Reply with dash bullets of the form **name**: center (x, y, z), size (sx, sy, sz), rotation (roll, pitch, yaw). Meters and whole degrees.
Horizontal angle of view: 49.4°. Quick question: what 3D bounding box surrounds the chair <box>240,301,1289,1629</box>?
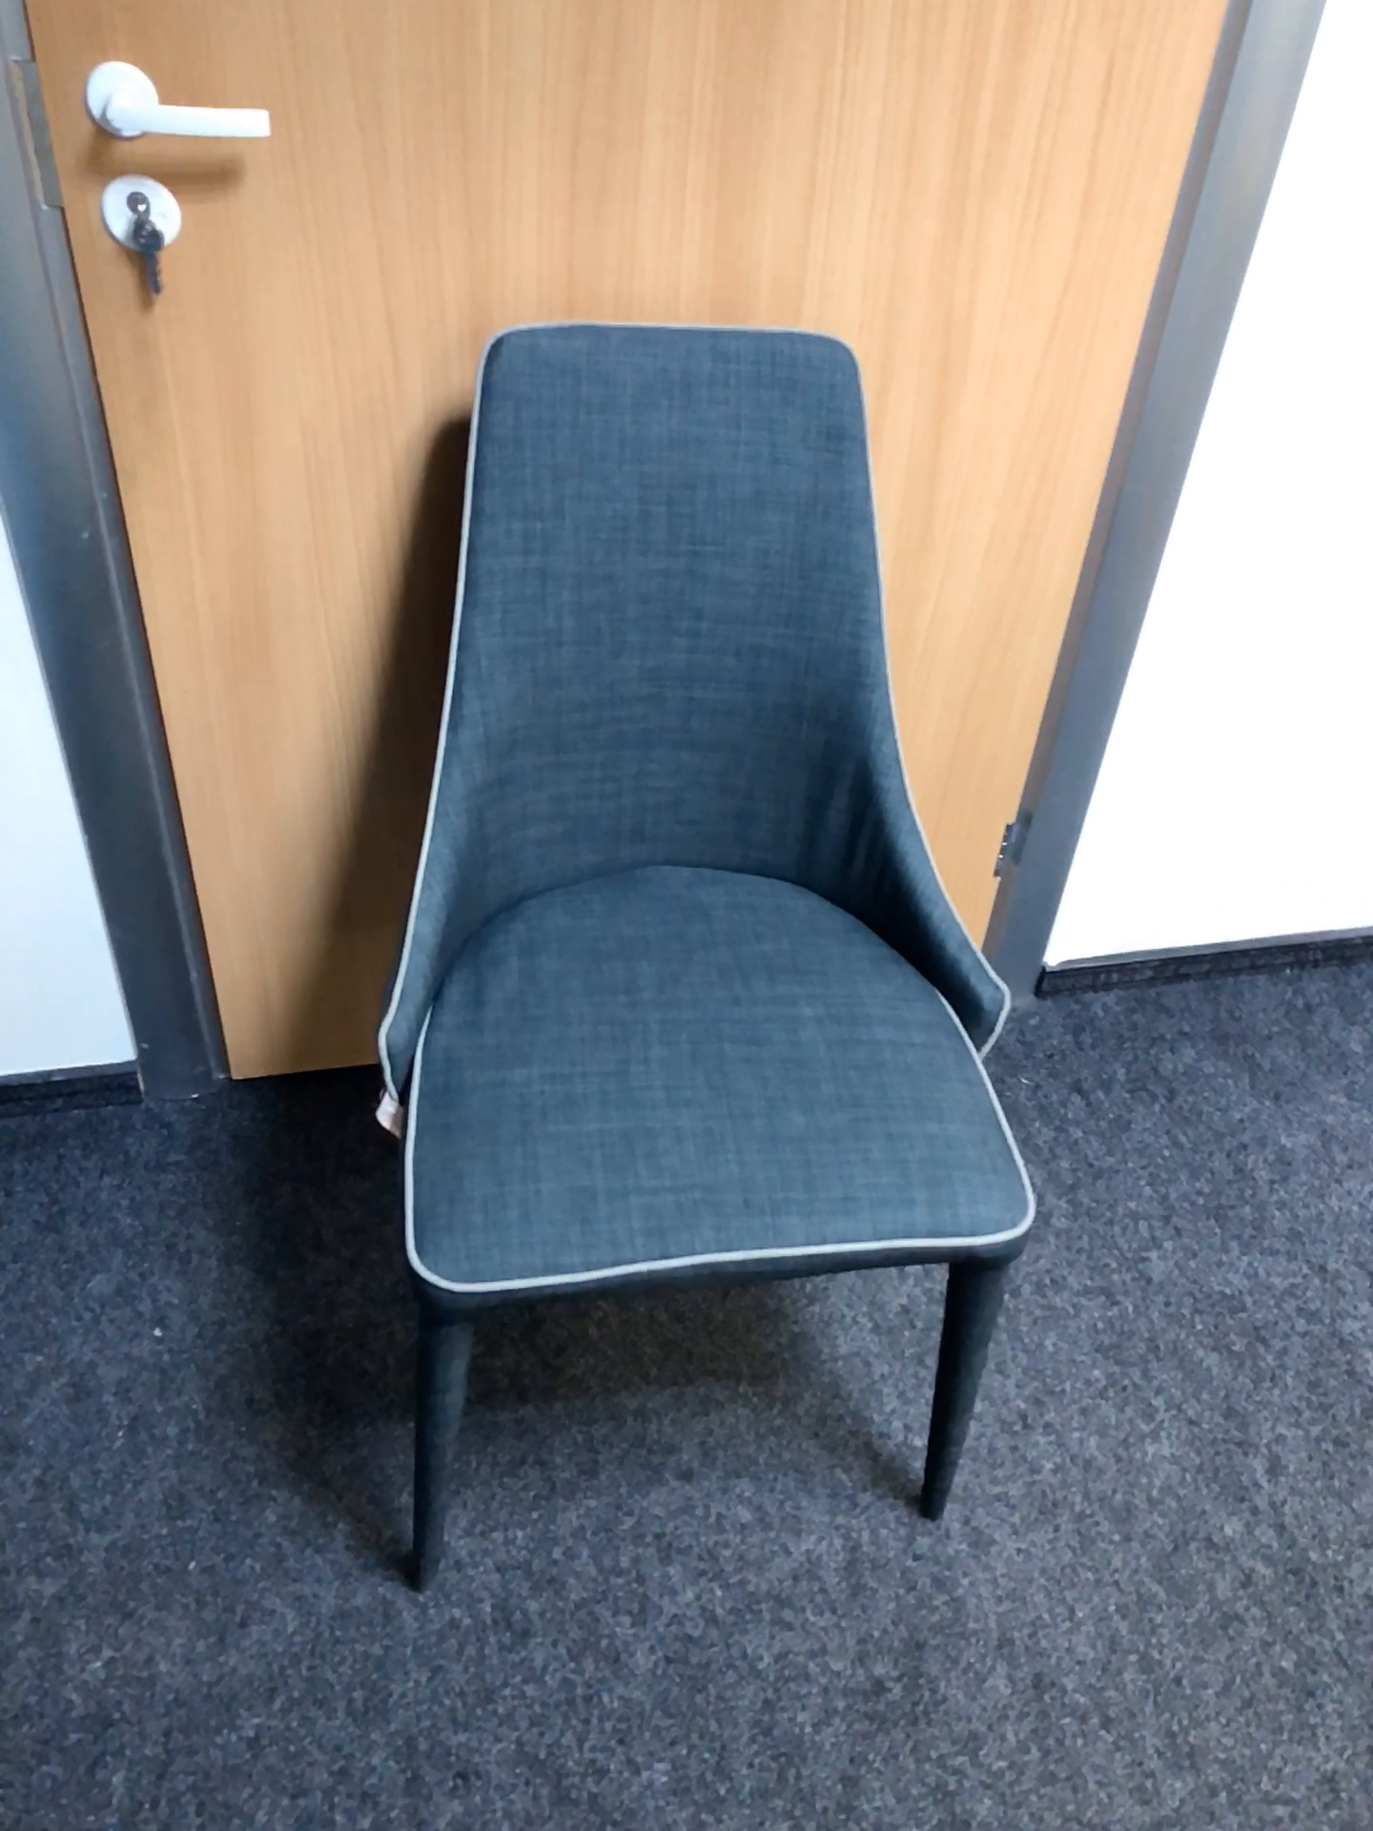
- **chair**: center (-0.027, 0.038, 1.233), size (0.520, 0.844, 0.644), rotation (-4, 41, -10)
